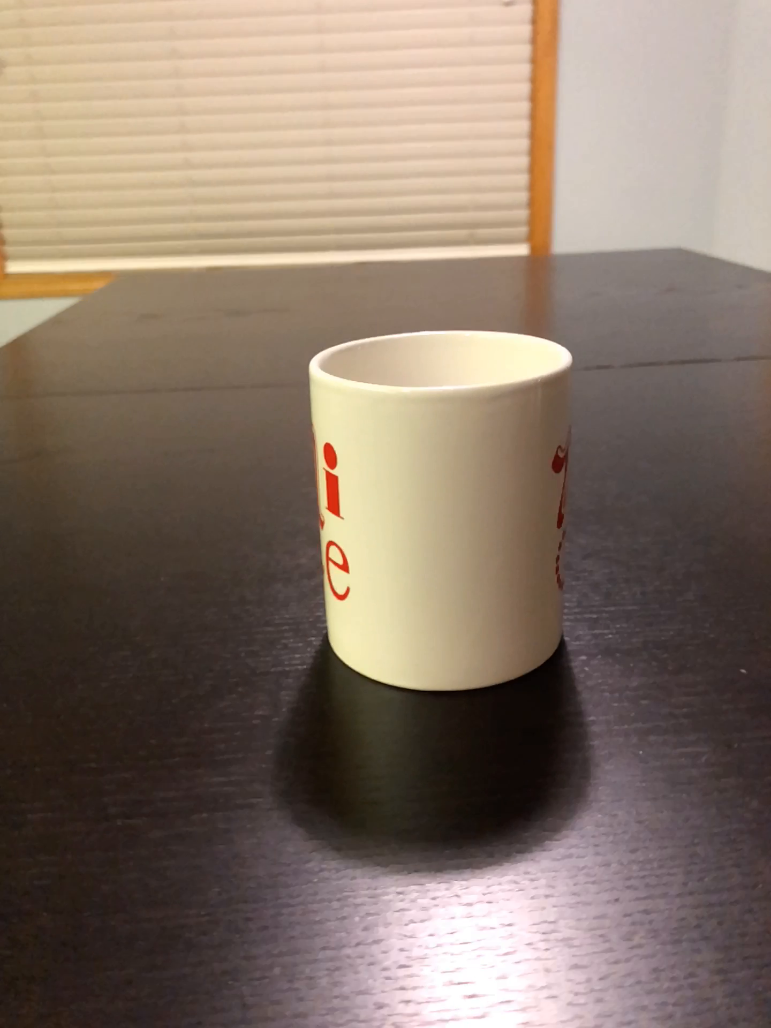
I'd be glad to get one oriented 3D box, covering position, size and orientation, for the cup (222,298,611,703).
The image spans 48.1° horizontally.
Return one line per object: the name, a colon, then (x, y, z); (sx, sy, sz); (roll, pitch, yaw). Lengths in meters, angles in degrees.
cup: (0.011, -0.013, 0.297); (0.100, 0.100, 0.121); (-1, 22, 2)
